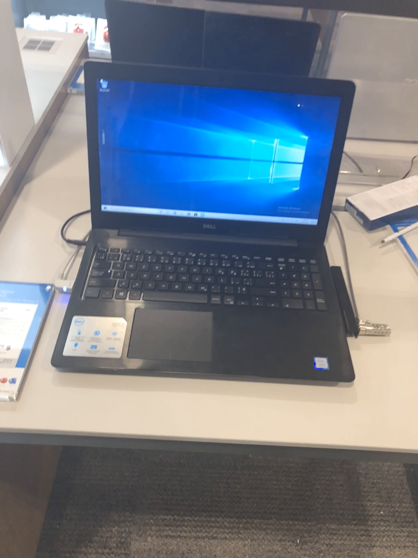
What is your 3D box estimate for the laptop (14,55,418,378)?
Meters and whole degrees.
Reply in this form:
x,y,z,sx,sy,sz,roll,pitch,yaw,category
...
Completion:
x,y,z,sx,sy,sz,roll,pitch,yaw,category
0.005,-0.091,0.601,0.363,0.224,0.337,4,48,-1,laptop
